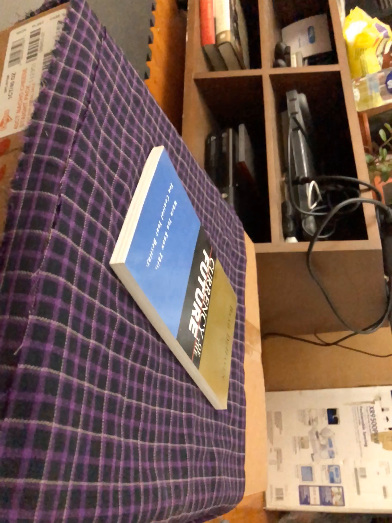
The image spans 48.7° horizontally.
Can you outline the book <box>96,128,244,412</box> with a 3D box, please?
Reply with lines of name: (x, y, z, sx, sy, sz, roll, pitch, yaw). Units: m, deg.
book: (-0.004, 0.016, 0.394, 0.150, 0.020, 0.220, -79, 151, -42)
